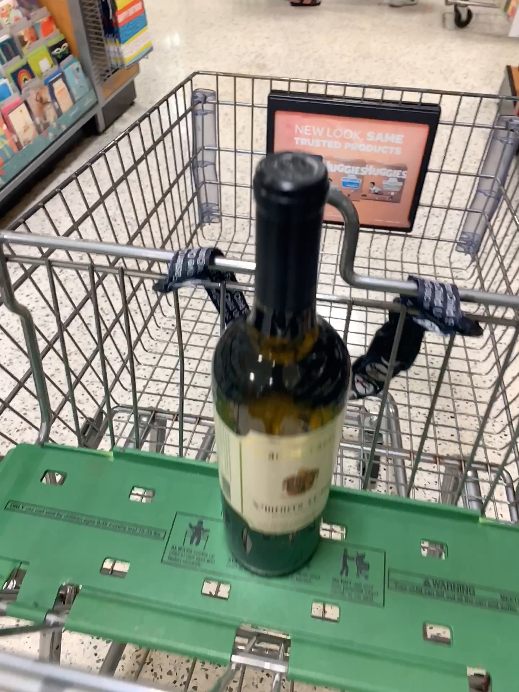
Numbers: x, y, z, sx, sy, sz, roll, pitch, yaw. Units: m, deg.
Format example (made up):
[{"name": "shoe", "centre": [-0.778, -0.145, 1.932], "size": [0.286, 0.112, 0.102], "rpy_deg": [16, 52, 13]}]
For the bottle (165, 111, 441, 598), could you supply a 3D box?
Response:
[{"name": "bottle", "centre": [0.011, 0.041, 0.303], "size": [0.080, 0.308, 0.070], "rpy_deg": [-13, 47, -12]}]
